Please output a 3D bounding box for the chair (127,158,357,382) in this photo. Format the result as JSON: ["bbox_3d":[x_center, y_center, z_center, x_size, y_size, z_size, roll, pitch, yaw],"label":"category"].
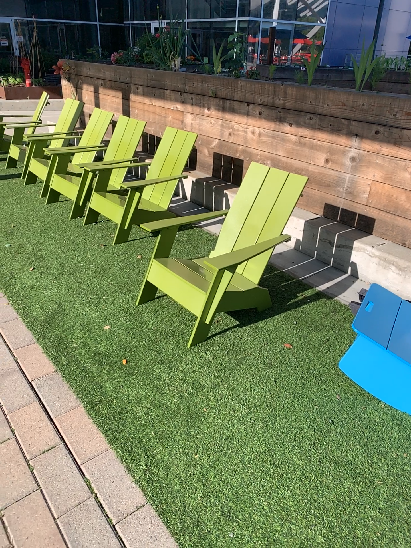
[{"bbox_3d":[0.188,-0.123,2.596,1.001,0.895,0.854,-18,34,-33],"label":"chair"}]
